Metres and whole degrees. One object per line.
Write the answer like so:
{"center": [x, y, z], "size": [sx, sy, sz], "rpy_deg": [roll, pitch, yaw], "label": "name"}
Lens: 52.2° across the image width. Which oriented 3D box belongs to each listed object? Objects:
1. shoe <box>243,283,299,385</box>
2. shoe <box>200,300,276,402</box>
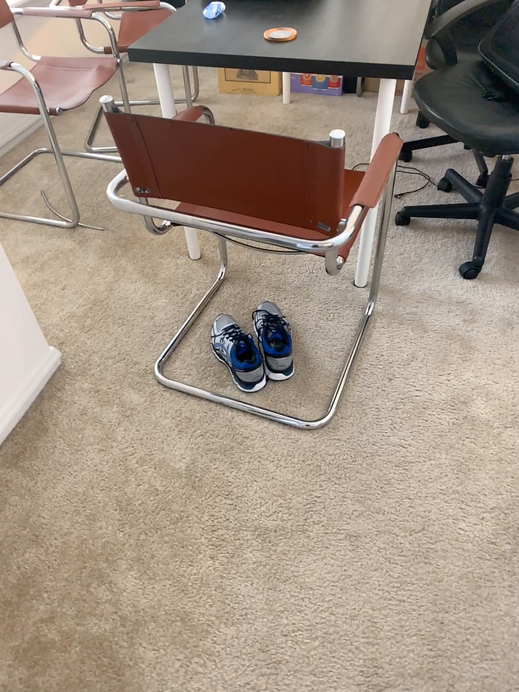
{"center": [0.029, -0.043, 1.575], "size": [0.130, 0.099, 0.312], "rpy_deg": [-5, 46, -2], "label": "shoe"}
{"center": [-0.070, 0.008, 1.622], "size": [0.130, 0.099, 0.312], "rpy_deg": [-17, 48, -13], "label": "shoe"}
